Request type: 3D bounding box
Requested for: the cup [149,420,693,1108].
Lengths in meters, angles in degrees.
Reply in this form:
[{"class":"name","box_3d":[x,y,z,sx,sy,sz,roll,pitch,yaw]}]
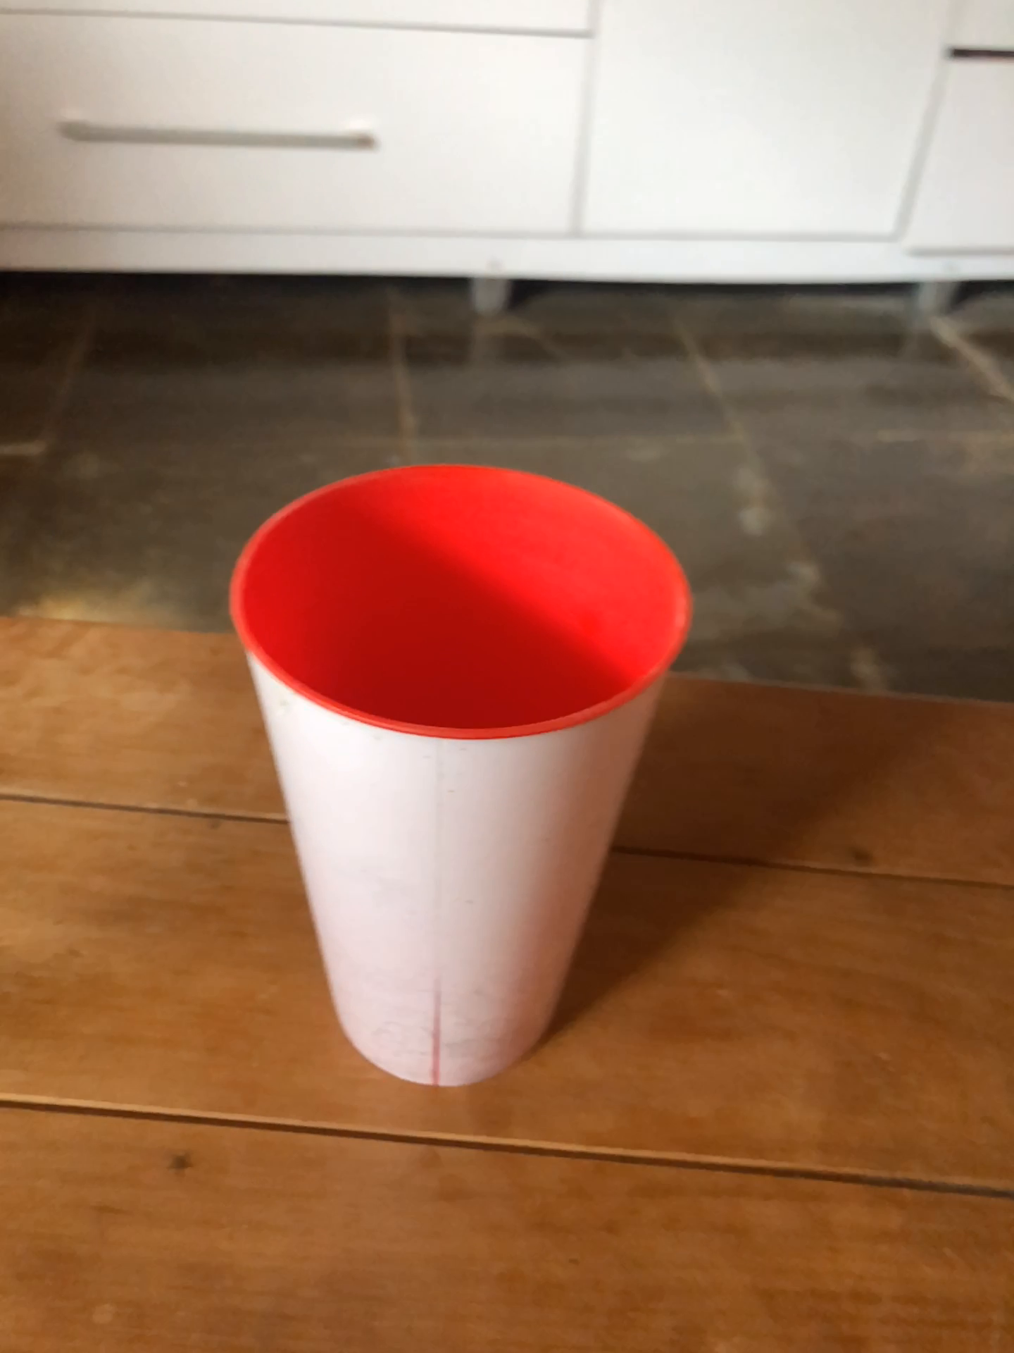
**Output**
[{"class":"cup","box_3d":[-0.016,0.021,0.265,0.090,0.119,0.101,3,40,-1]}]
